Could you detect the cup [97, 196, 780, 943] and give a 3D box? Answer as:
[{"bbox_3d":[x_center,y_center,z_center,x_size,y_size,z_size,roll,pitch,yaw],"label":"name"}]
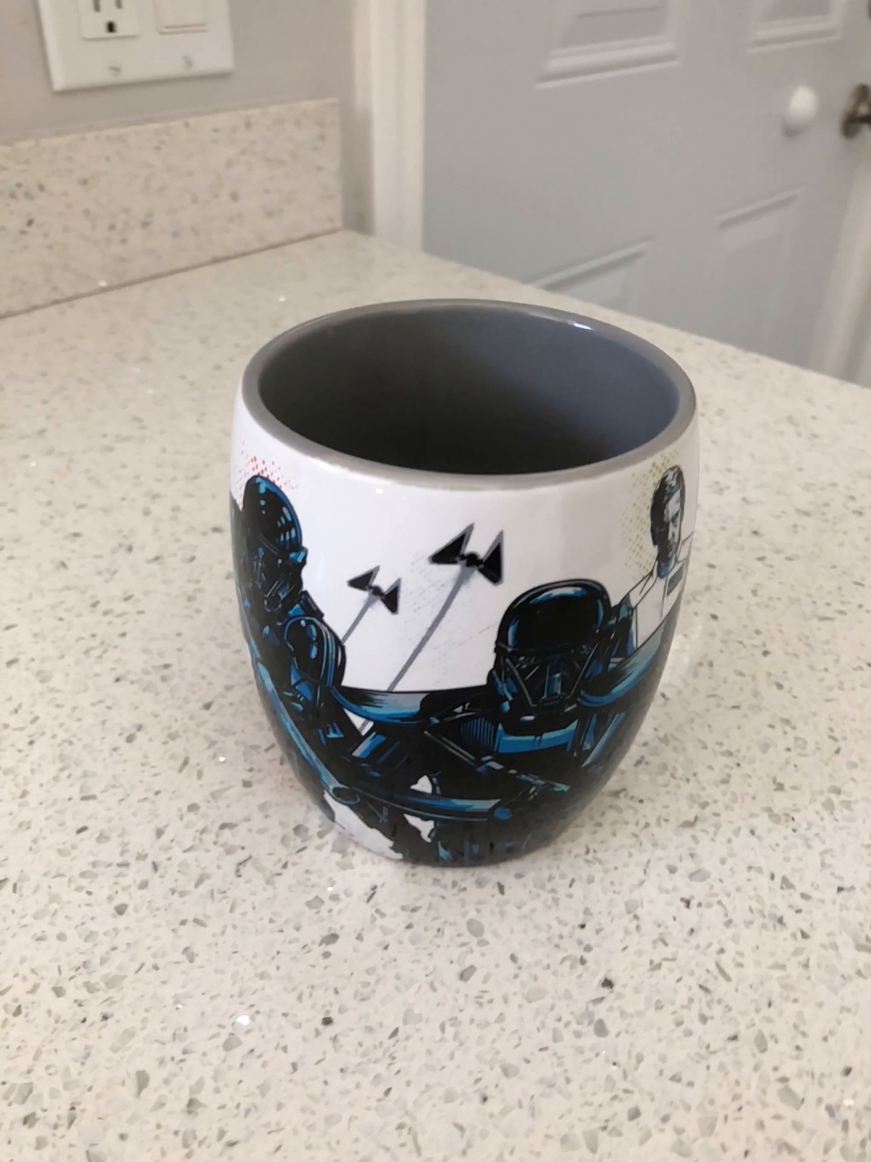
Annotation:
[{"bbox_3d":[0.014,-0.018,0.231,0.100,0.100,0.140,13,36,16],"label":"cup"}]
